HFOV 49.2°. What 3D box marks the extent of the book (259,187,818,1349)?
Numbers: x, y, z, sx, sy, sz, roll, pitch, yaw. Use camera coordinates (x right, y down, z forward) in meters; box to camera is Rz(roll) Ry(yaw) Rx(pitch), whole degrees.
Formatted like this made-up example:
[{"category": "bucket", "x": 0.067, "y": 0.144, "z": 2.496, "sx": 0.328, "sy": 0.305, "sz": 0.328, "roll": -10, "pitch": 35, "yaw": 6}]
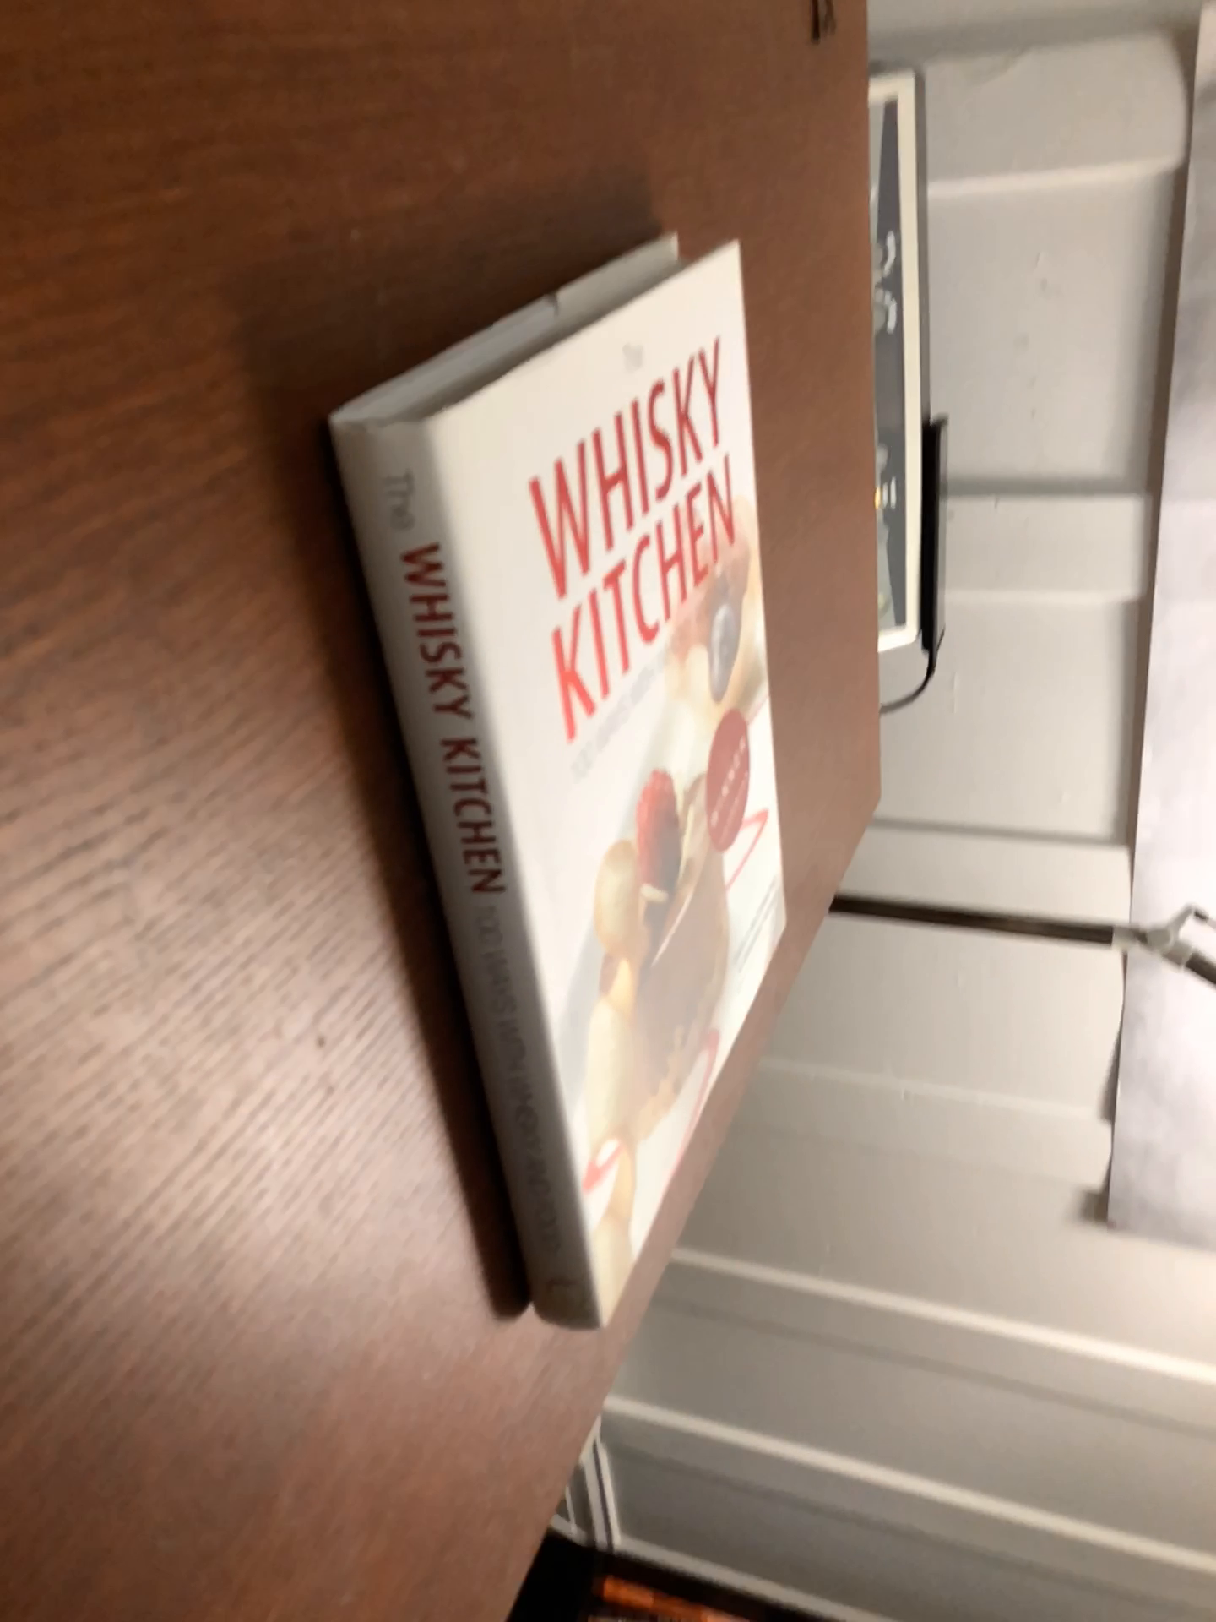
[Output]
[{"category": "book", "x": 0.010, "y": -0.023, "z": 0.399, "sx": 0.221, "sy": 0.040, "sz": 0.270, "roll": -54, "pitch": 143, "yaw": -52}]
